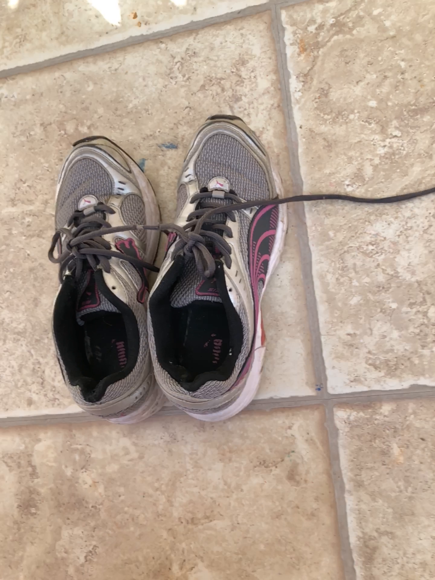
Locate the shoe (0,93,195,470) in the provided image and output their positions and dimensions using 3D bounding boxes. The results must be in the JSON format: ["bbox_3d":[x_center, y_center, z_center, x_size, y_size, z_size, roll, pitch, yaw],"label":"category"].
[{"bbox_3d":[-0.111,-0.002,0.429,0.110,0.140,0.270,-11,81,12],"label":"shoe"}]

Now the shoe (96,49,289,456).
[{"bbox_3d":[-0.007,-0.024,0.396,0.110,0.140,0.270,1,84,14],"label":"shoe"}]
